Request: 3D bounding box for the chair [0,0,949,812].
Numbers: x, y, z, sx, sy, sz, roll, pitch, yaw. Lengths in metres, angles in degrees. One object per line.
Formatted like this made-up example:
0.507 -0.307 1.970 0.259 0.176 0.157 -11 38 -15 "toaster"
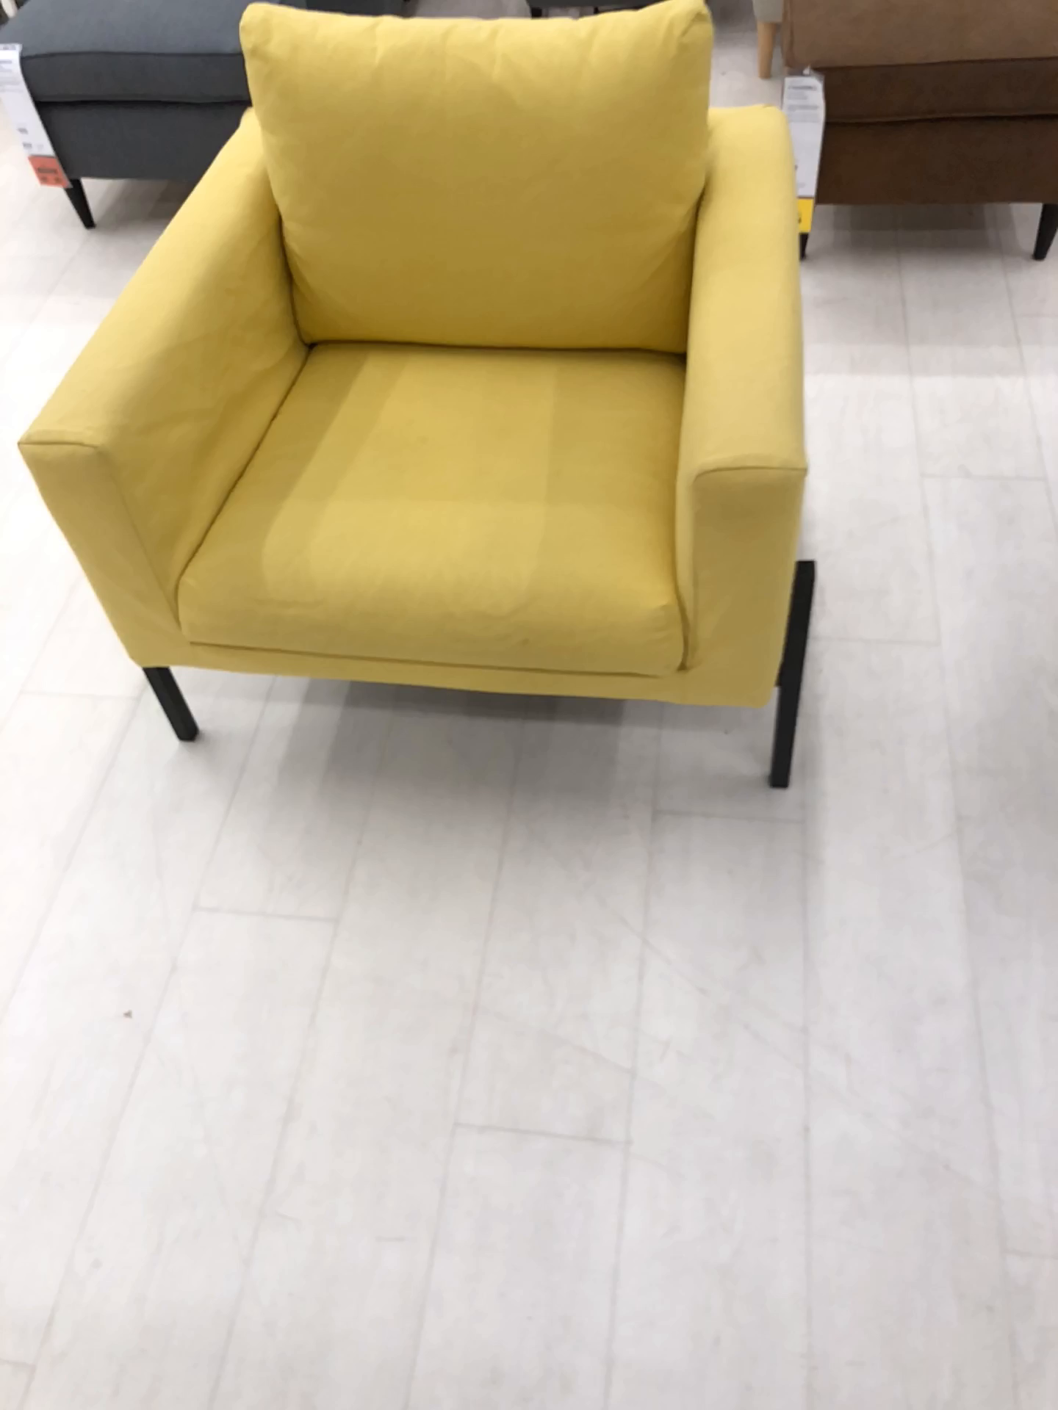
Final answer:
-0.068 -0.398 1.518 0.980 0.758 0.692 4 52 9 "chair"
